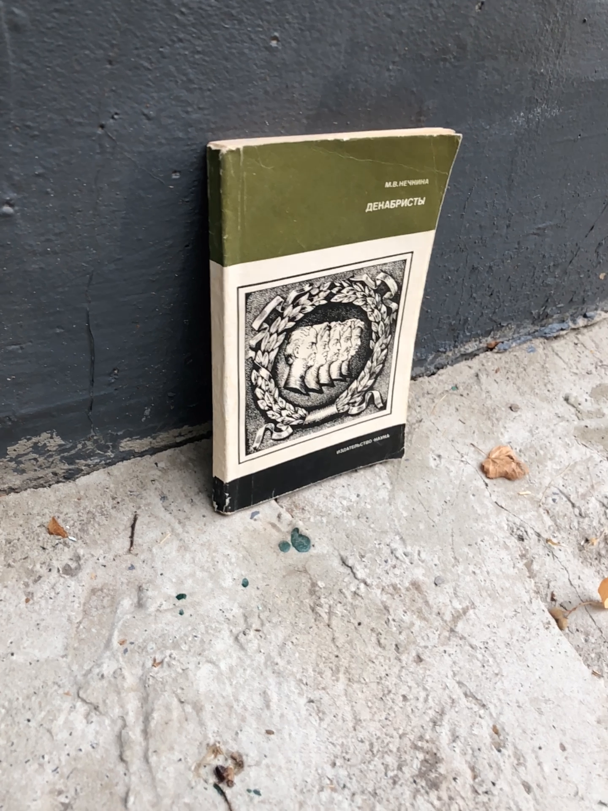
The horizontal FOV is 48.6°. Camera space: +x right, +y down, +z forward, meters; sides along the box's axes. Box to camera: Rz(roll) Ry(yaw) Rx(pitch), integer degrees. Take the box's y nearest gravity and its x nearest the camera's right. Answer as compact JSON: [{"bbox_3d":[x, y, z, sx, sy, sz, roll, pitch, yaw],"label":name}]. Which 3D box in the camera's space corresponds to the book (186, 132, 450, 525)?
[{"bbox_3d":[0.008,-0.036,0.322,0.120,0.169,0.020,-16,33,-30],"label":"book"}]
